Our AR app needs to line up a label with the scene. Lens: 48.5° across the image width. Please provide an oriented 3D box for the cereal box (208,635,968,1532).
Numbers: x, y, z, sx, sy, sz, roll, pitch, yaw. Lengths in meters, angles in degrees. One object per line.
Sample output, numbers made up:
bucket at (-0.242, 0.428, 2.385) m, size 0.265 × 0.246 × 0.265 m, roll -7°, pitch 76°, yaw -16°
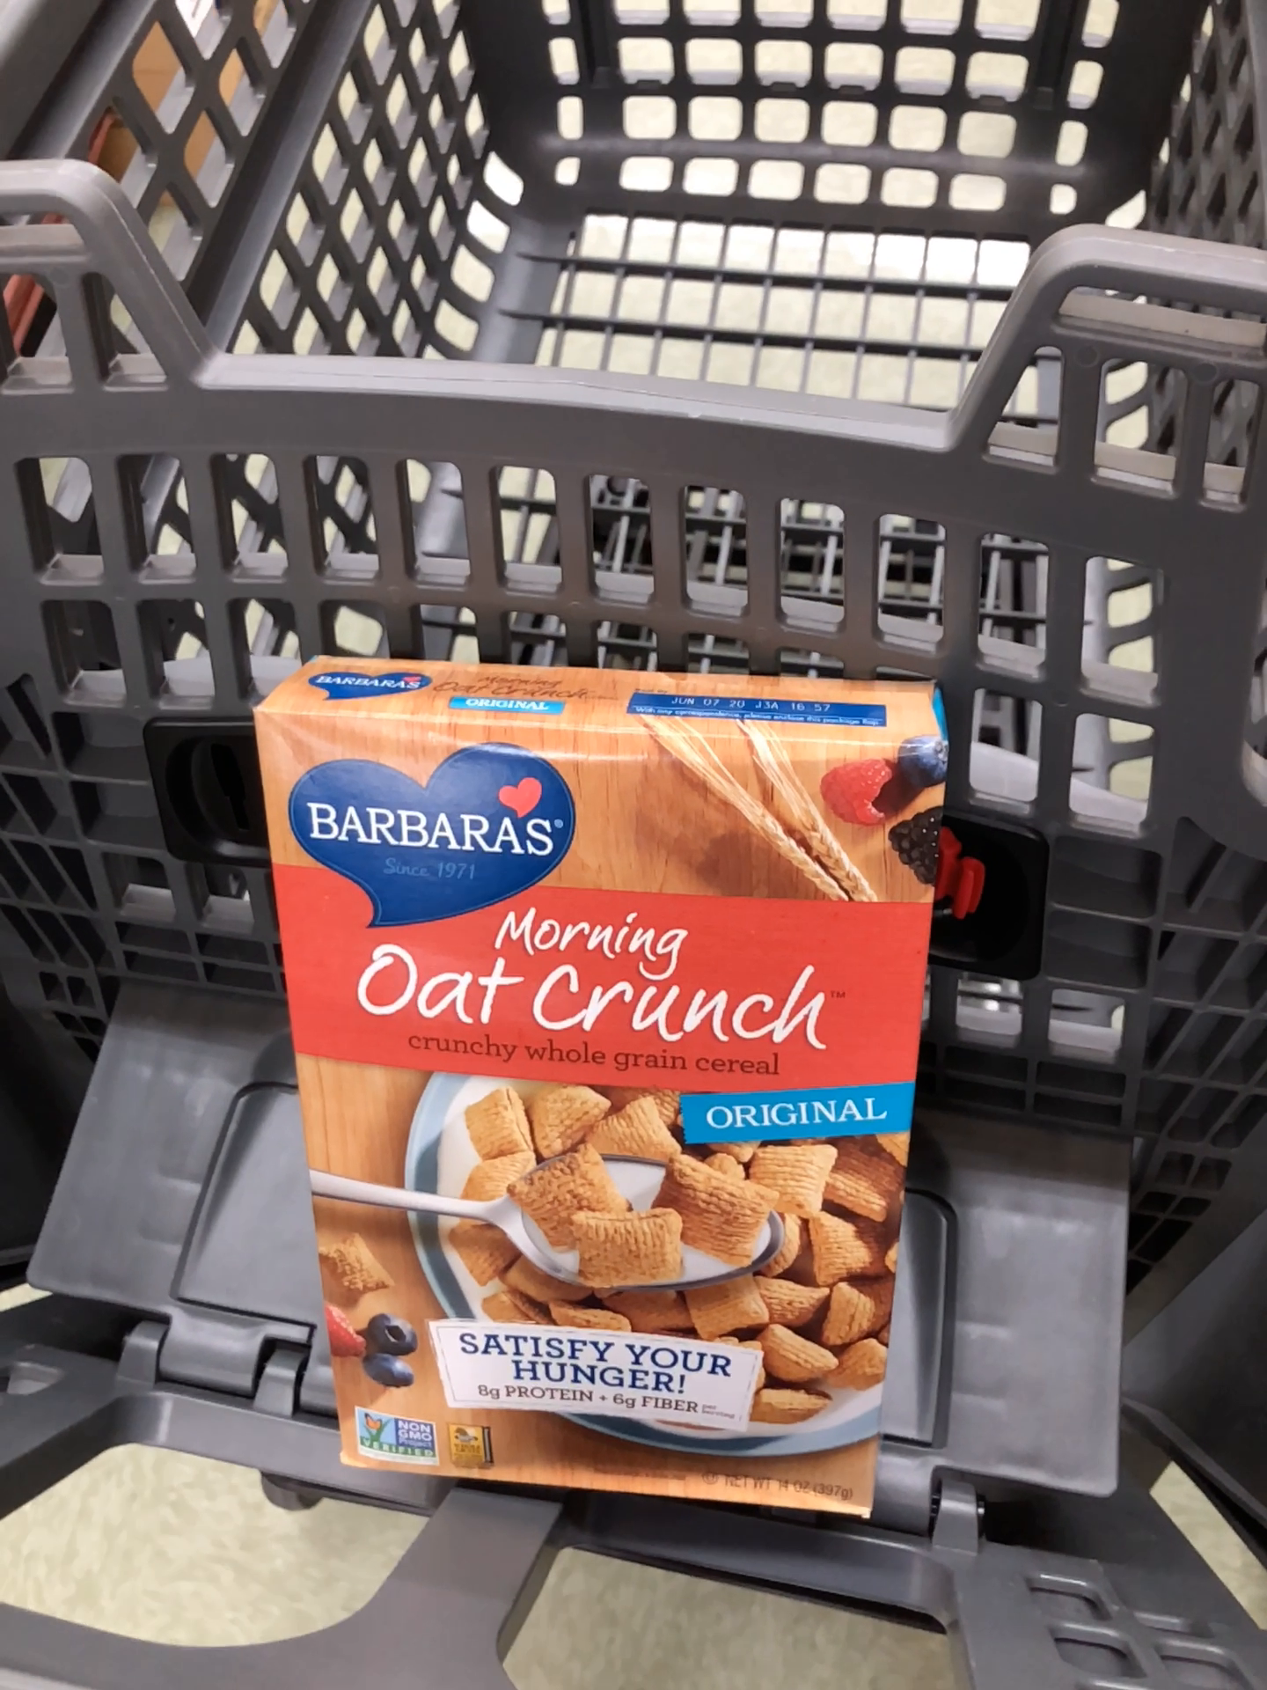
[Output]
cereal box at (-0.009, 0.076, 0.411) m, size 0.180 × 0.260 × 0.060 m, roll 3°, pitch 26°, yaw 7°
